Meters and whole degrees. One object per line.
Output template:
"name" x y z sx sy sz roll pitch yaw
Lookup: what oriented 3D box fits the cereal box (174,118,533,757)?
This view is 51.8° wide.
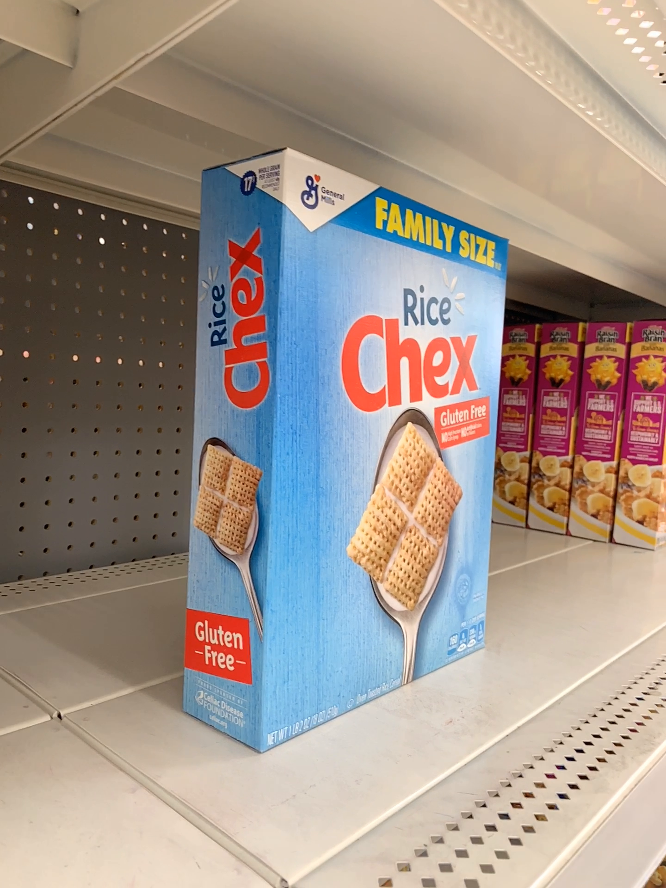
"cereal box" 0.029 -0.005 0.461 0.080 0.320 0.250 6 5 42
